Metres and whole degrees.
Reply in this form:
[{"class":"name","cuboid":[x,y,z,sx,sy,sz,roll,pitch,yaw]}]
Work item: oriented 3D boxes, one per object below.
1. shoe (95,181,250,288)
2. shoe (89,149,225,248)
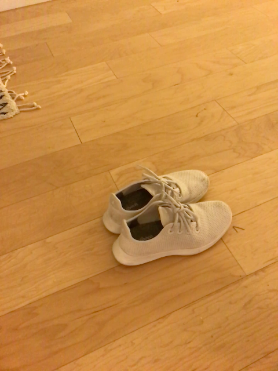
[{"class":"shoe","cuboid":[0.065,0.096,0.625,0.280,0.070,0.121,-17,53,-9]},{"class":"shoe","cuboid":[0.039,0.024,0.680,0.270,0.070,0.121,-20,53,-12]}]
